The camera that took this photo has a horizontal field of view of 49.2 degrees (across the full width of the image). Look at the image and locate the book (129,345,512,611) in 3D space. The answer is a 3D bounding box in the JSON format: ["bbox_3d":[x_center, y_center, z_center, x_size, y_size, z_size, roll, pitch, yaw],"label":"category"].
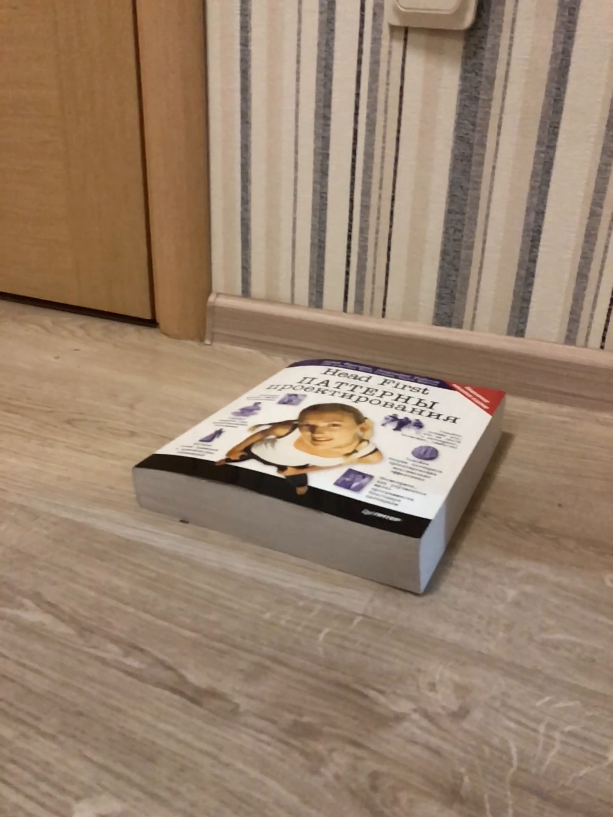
[{"bbox_3d":[0.027,0.028,0.513,0.206,0.049,0.241,13,27,22],"label":"book"}]
